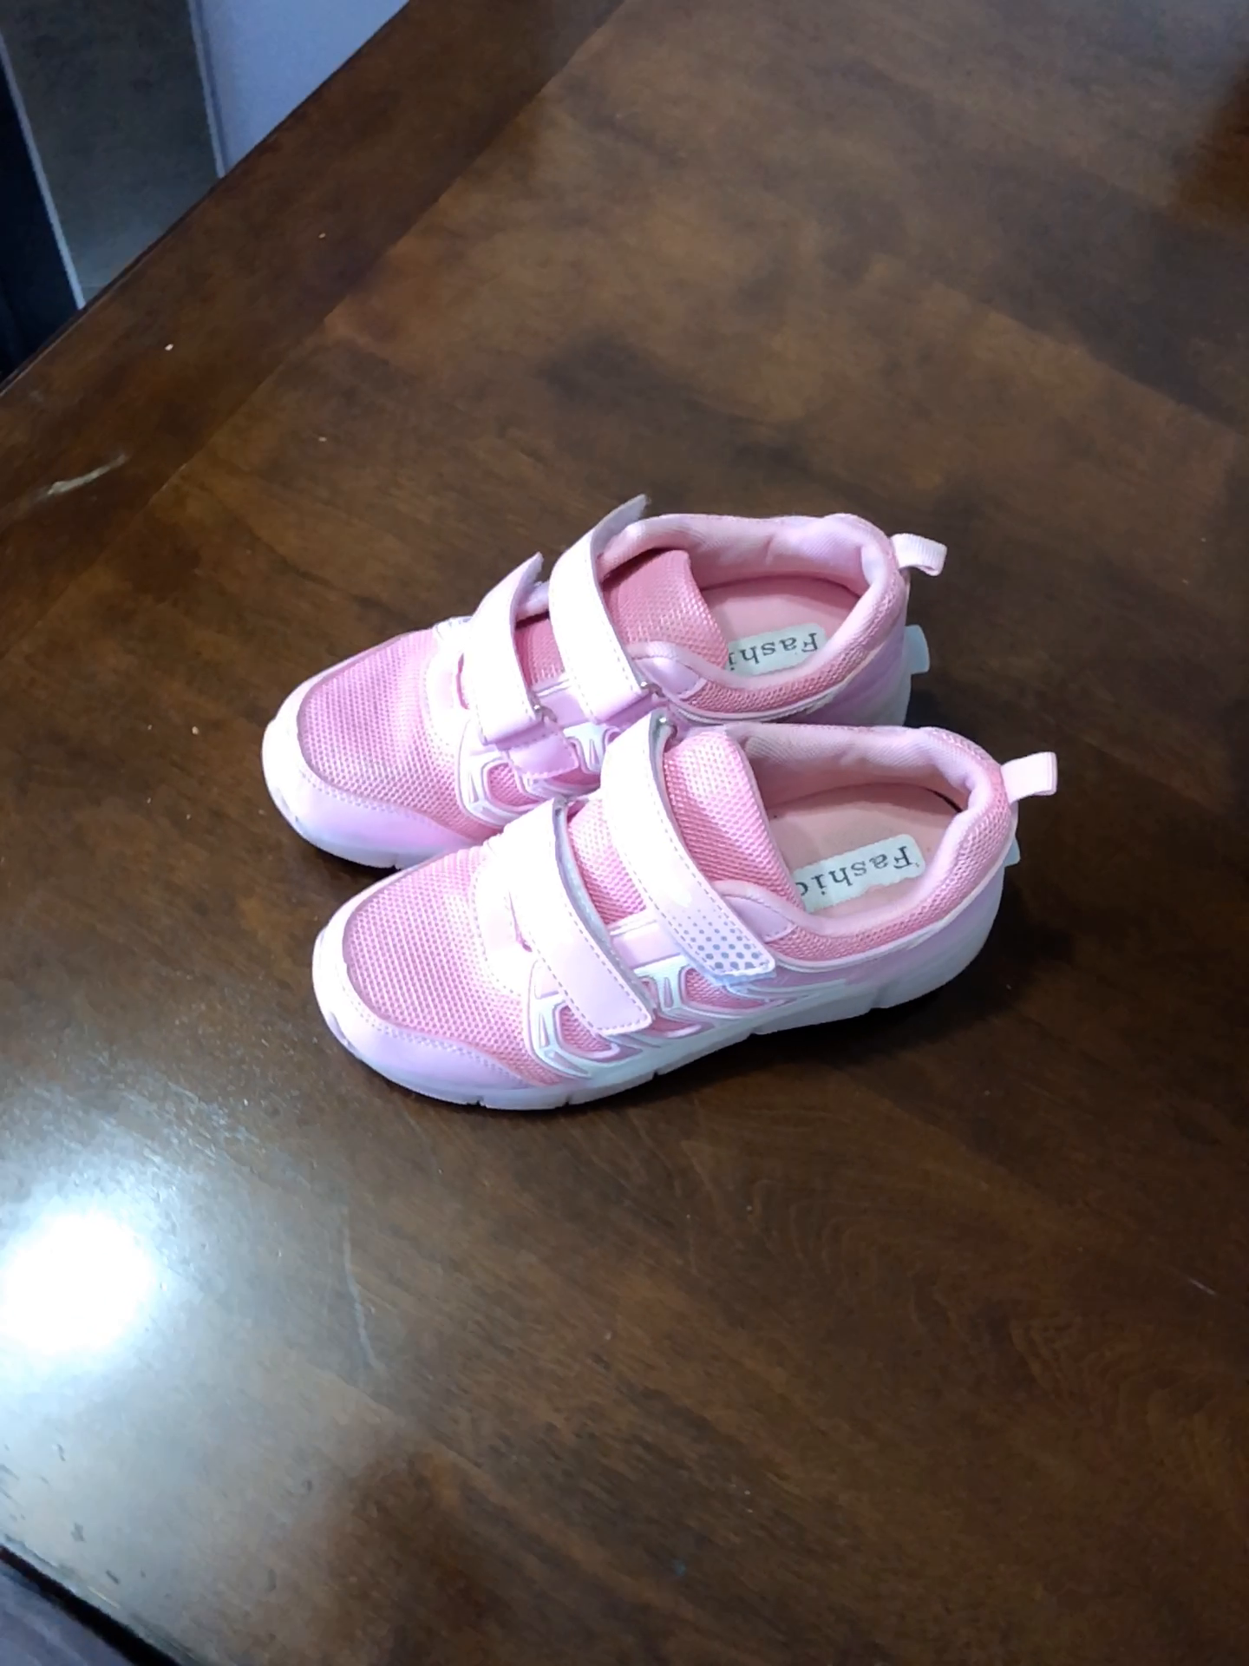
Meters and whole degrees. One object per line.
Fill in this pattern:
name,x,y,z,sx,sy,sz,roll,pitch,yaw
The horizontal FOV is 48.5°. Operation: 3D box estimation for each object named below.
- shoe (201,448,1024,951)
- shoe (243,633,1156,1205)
shoe,-0.008,-0.047,0.496,0.250,0.110,0.100,-10,67,-12
shoe,0.019,0.029,0.470,0.260,0.110,0.110,-11,67,-12
